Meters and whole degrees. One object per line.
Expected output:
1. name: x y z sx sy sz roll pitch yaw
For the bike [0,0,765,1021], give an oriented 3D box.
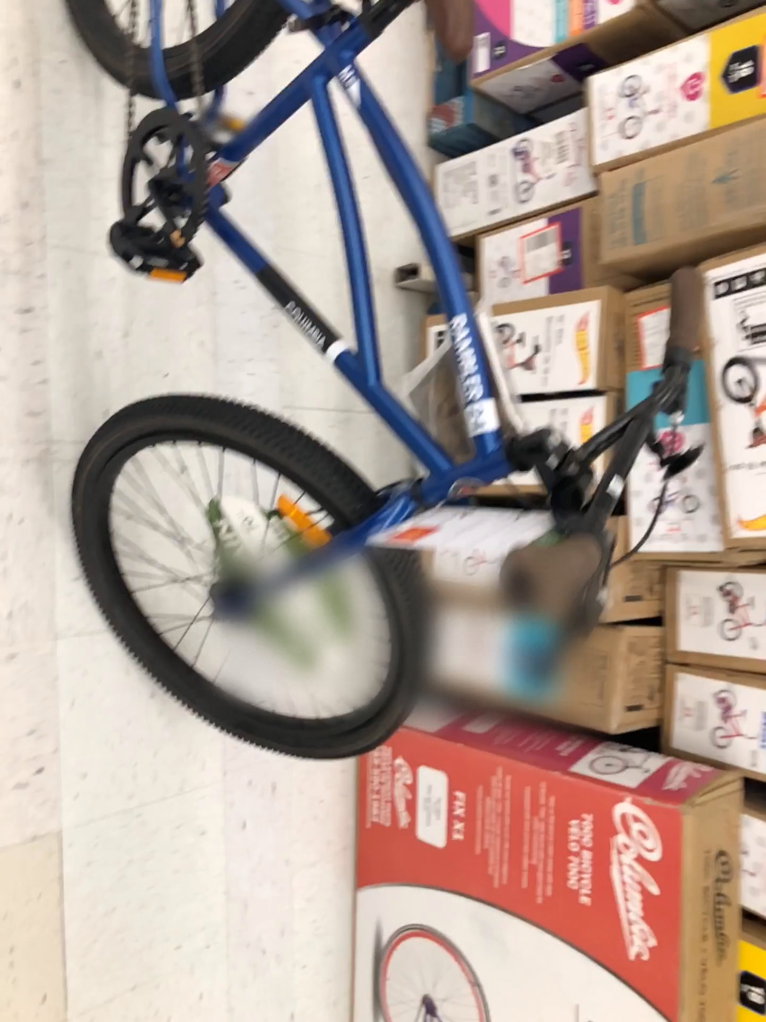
1. bike: -0.029 -0.391 1.081 0.652 0.928 1.552 -14 100 -44
